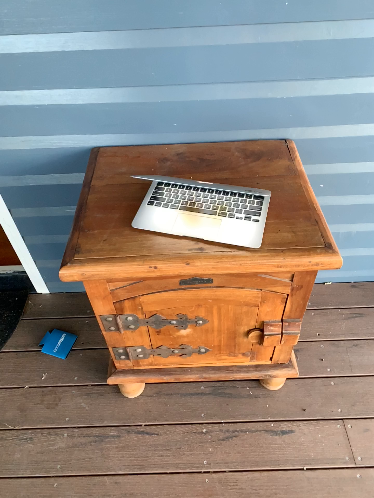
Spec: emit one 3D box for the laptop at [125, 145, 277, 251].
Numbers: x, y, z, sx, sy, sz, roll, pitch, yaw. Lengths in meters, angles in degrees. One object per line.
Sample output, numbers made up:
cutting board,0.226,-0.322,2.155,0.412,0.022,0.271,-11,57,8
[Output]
laptop,0.037,-0.118,0.832,0.282,0.099,0.180,10,49,12
